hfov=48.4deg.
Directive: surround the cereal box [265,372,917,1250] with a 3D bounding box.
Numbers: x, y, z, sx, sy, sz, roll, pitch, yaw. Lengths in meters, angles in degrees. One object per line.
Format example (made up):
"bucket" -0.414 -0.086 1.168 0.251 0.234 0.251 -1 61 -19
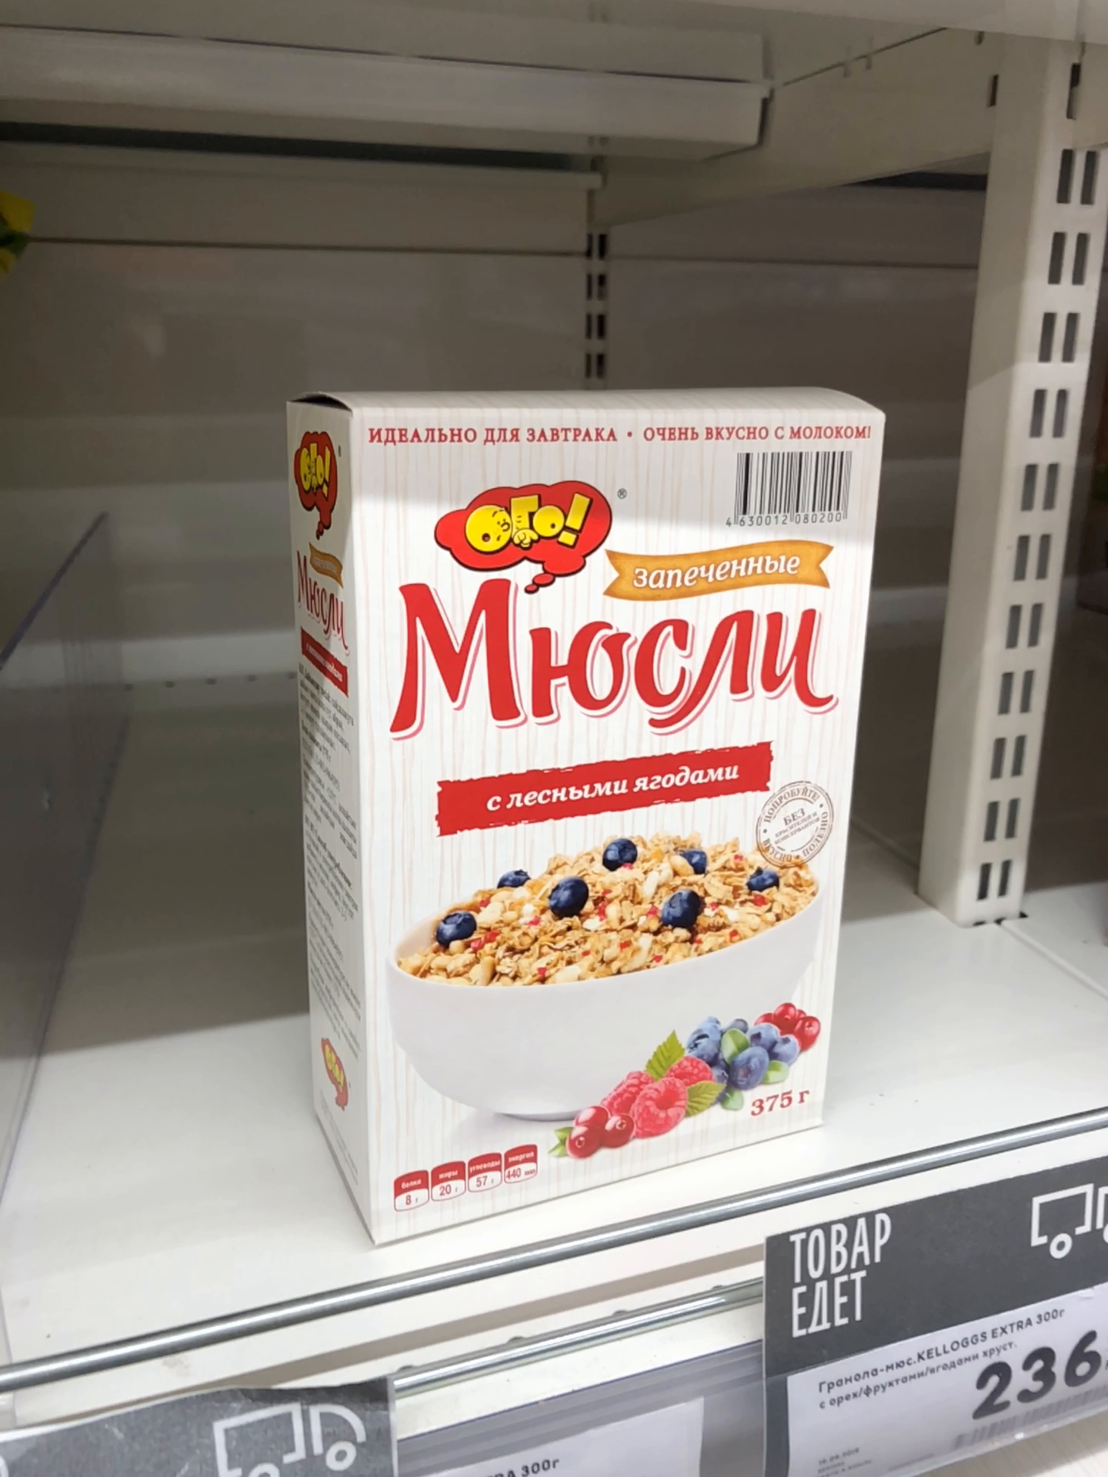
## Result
"cereal box" 0.008 0.010 0.318 0.140 0.199 0.060 -7 19 -22
